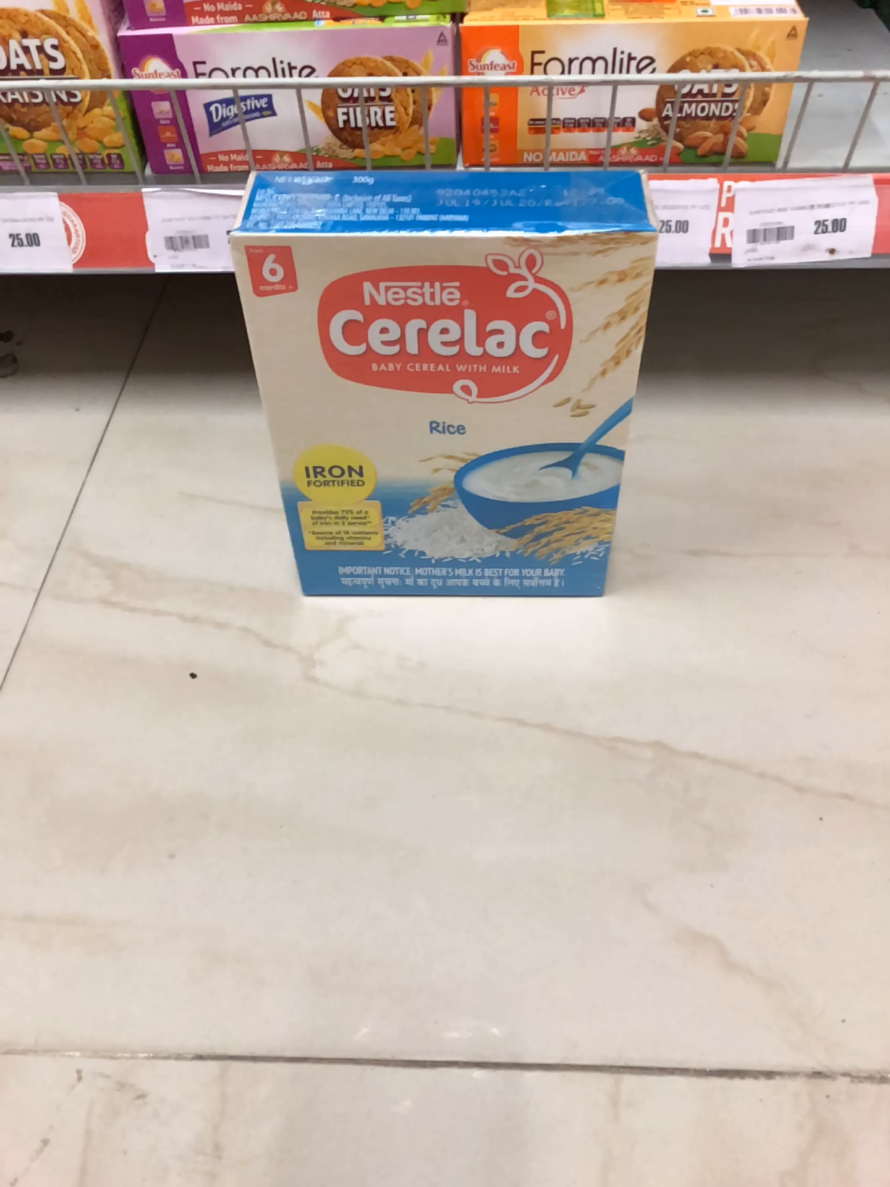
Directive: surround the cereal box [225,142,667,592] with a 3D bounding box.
[{"bbox_3d":[0.002,-0.086,0.424,0.150,0.189,0.060,0,49,1],"label":"cereal box"}]
